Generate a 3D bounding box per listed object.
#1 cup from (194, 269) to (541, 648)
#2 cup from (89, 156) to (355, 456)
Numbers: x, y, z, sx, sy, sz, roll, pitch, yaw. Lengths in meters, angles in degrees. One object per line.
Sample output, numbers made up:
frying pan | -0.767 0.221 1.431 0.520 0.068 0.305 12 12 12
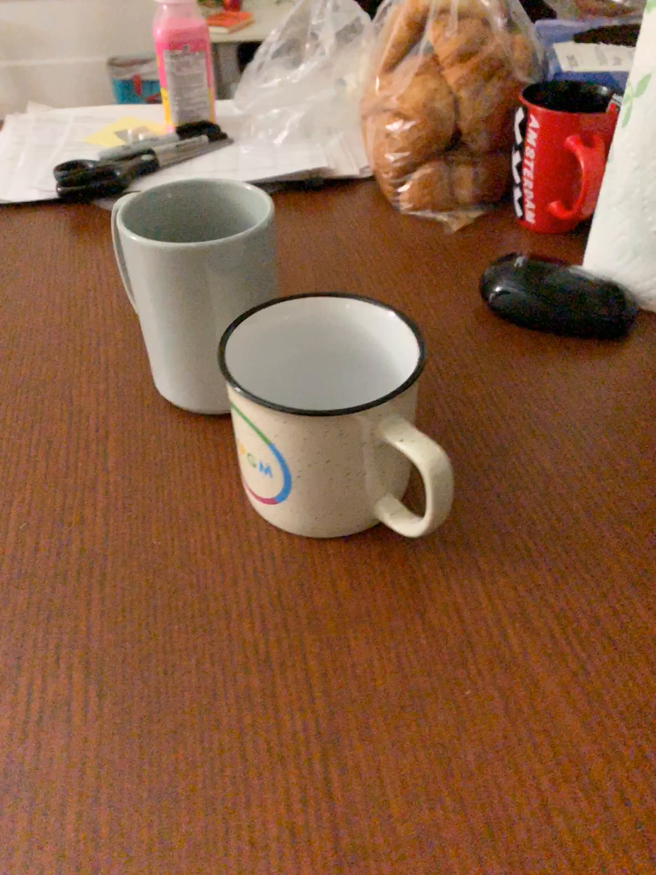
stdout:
cup | 0.011 0.003 0.332 0.100 0.099 0.131 -20 46 -20
cup | -0.063 -0.085 0.404 0.100 0.099 0.141 -20 46 -20
